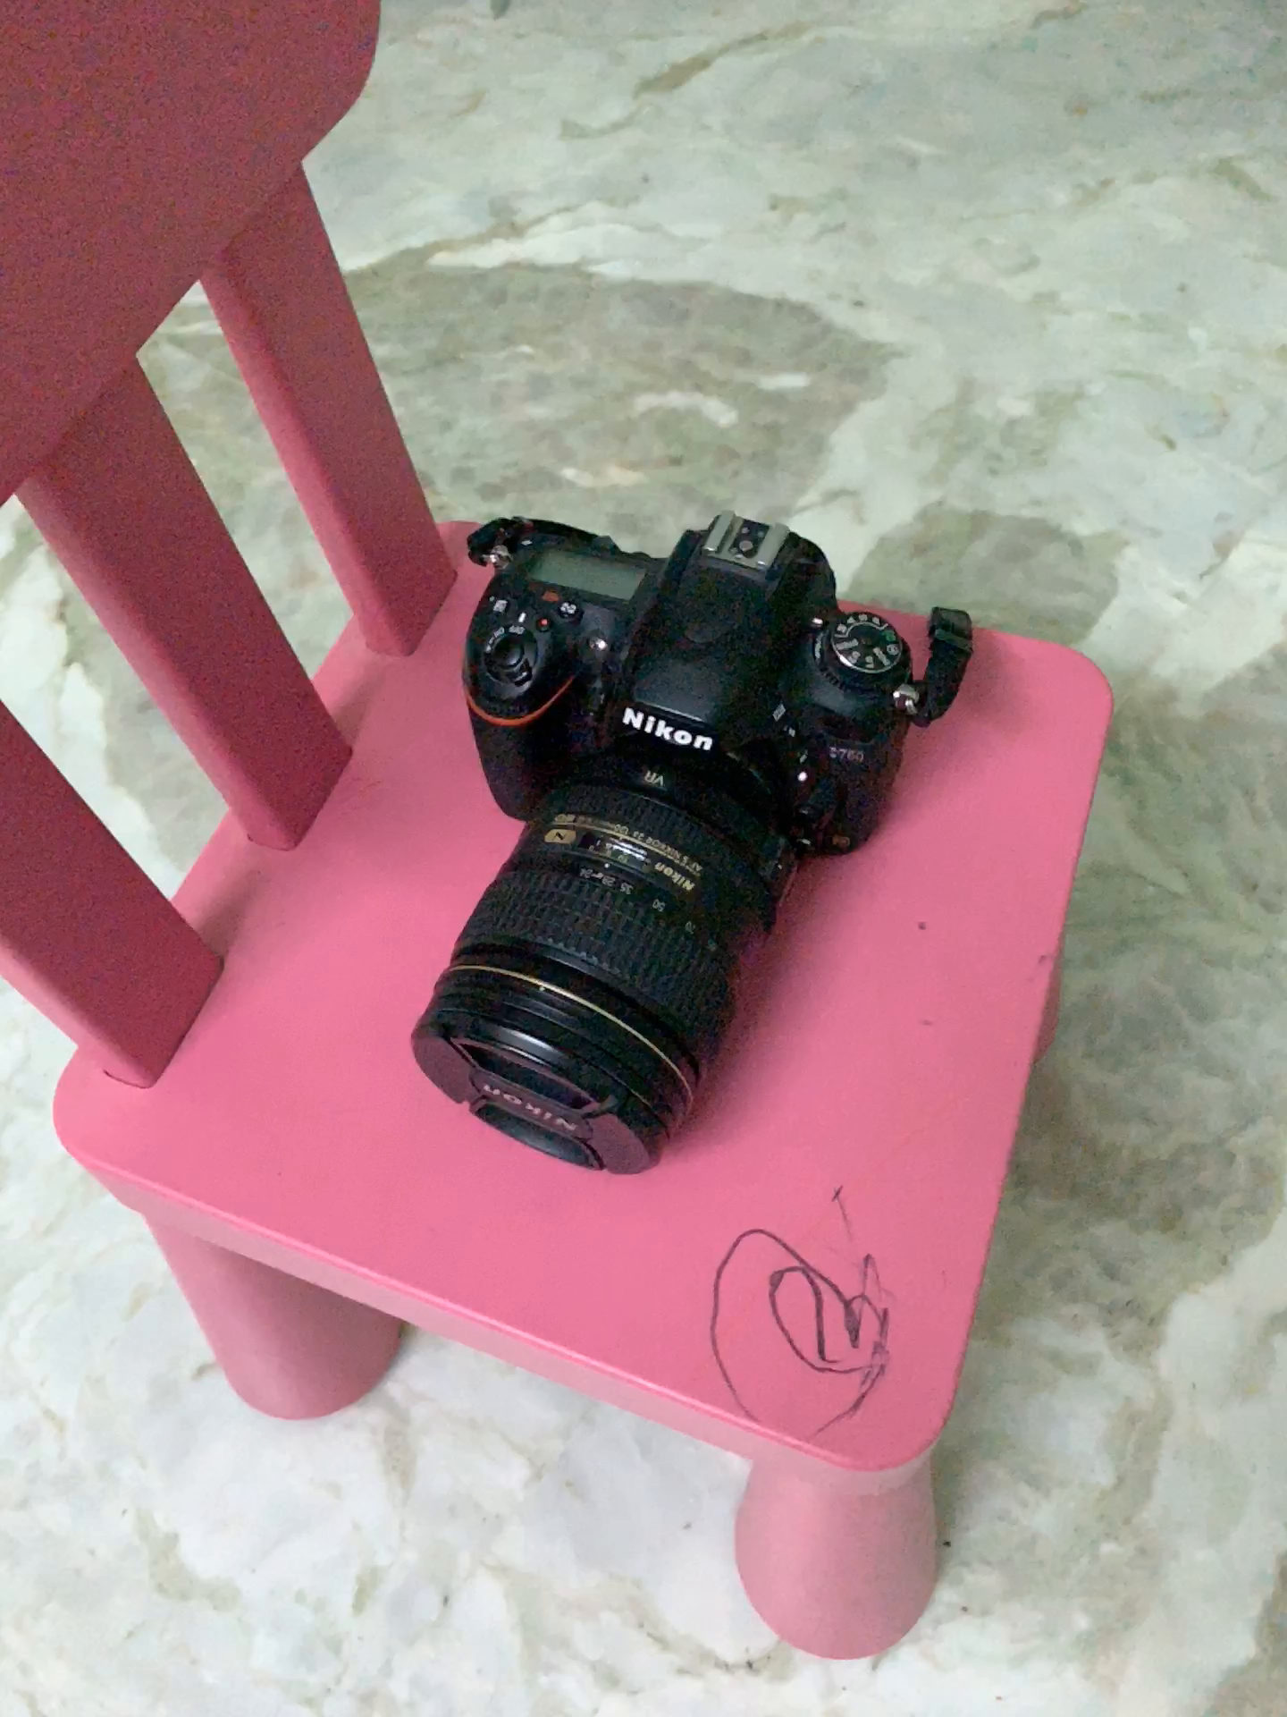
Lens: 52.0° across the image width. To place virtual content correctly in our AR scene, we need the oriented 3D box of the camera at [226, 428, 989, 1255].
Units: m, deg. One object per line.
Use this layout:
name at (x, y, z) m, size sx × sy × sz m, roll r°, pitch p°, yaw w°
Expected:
camera at (0.001, -0.015, 0.400) m, size 0.140 × 0.080 × 0.210 m, roll 18°, pitch 61°, yaw 14°
